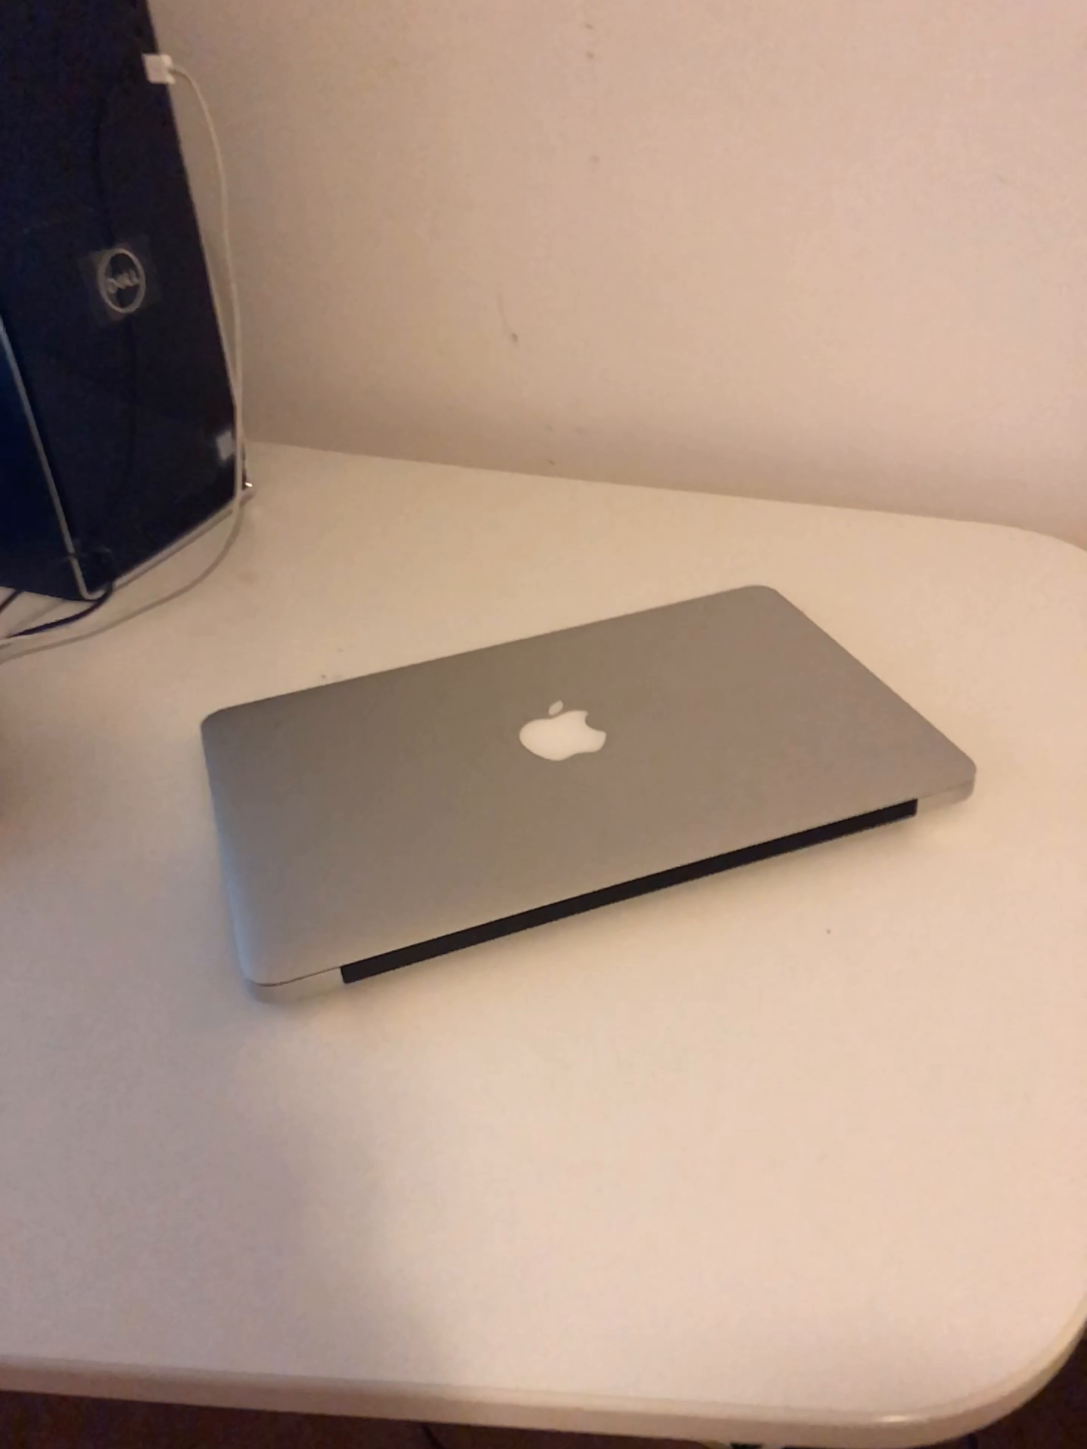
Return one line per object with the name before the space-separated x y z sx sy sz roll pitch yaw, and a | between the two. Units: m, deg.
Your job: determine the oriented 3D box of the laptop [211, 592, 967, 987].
laptop | 0.009 0.011 0.525 0.290 0.004 0.179 -14 35 -14
